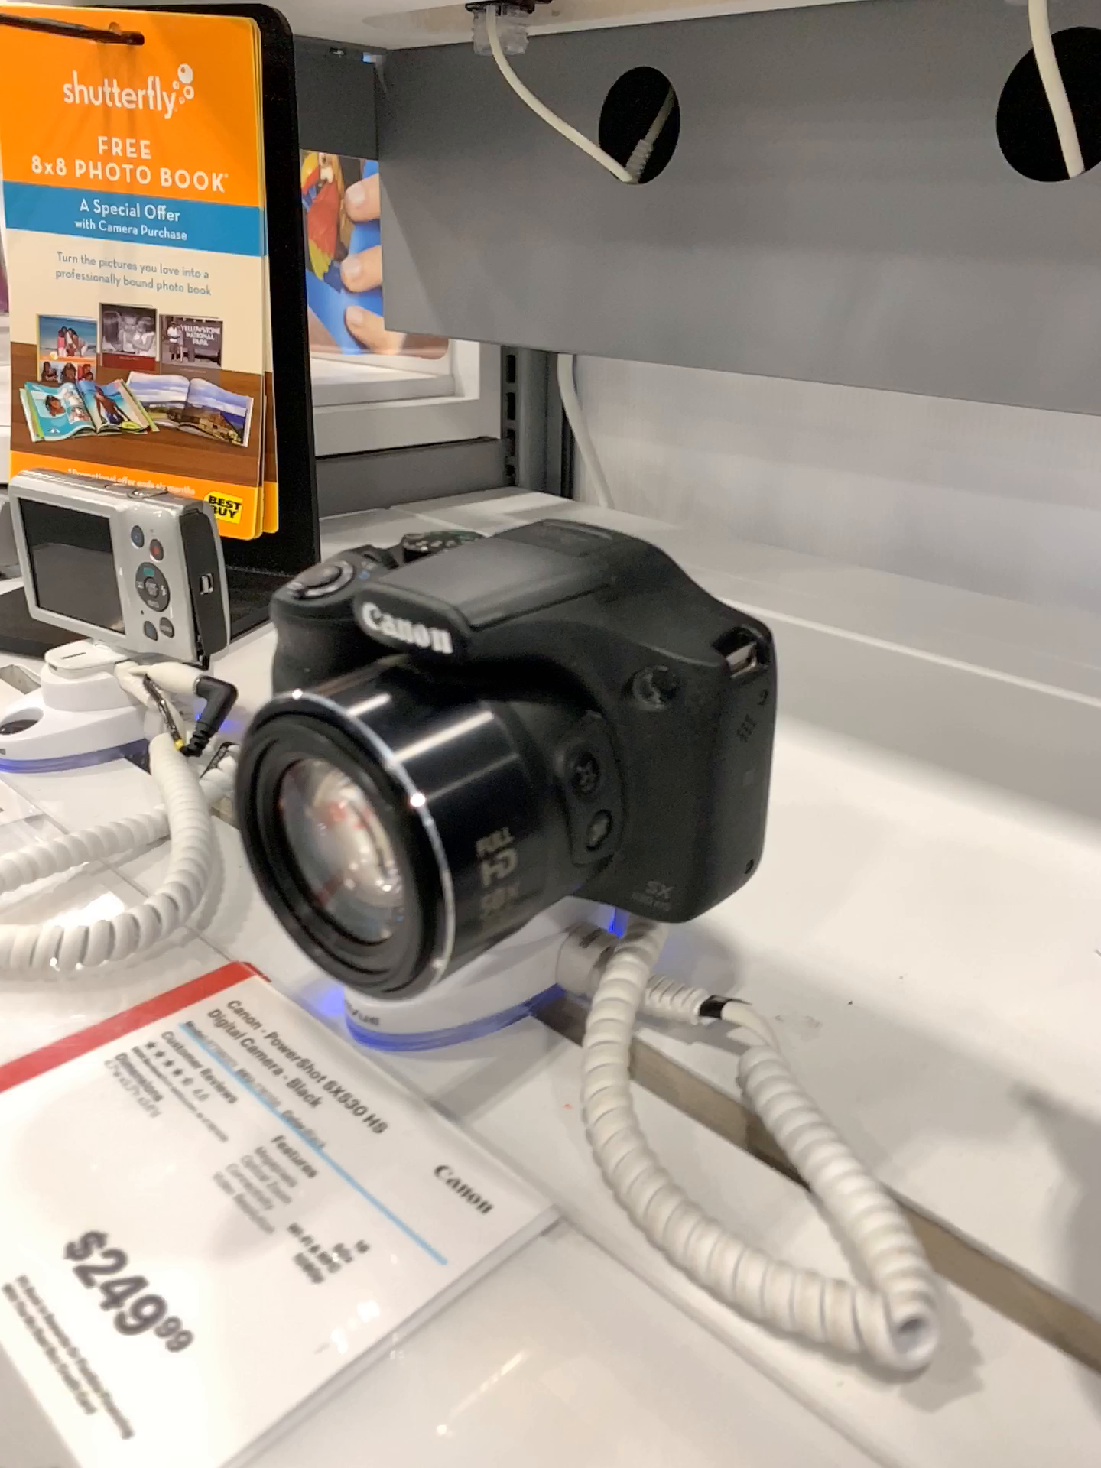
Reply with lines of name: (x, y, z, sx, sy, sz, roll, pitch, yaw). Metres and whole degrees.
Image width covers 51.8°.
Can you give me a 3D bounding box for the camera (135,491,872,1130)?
camera: (-0.013, 0.001, 0.254, 0.120, 0.080, 0.100, 22, 31, 40)
